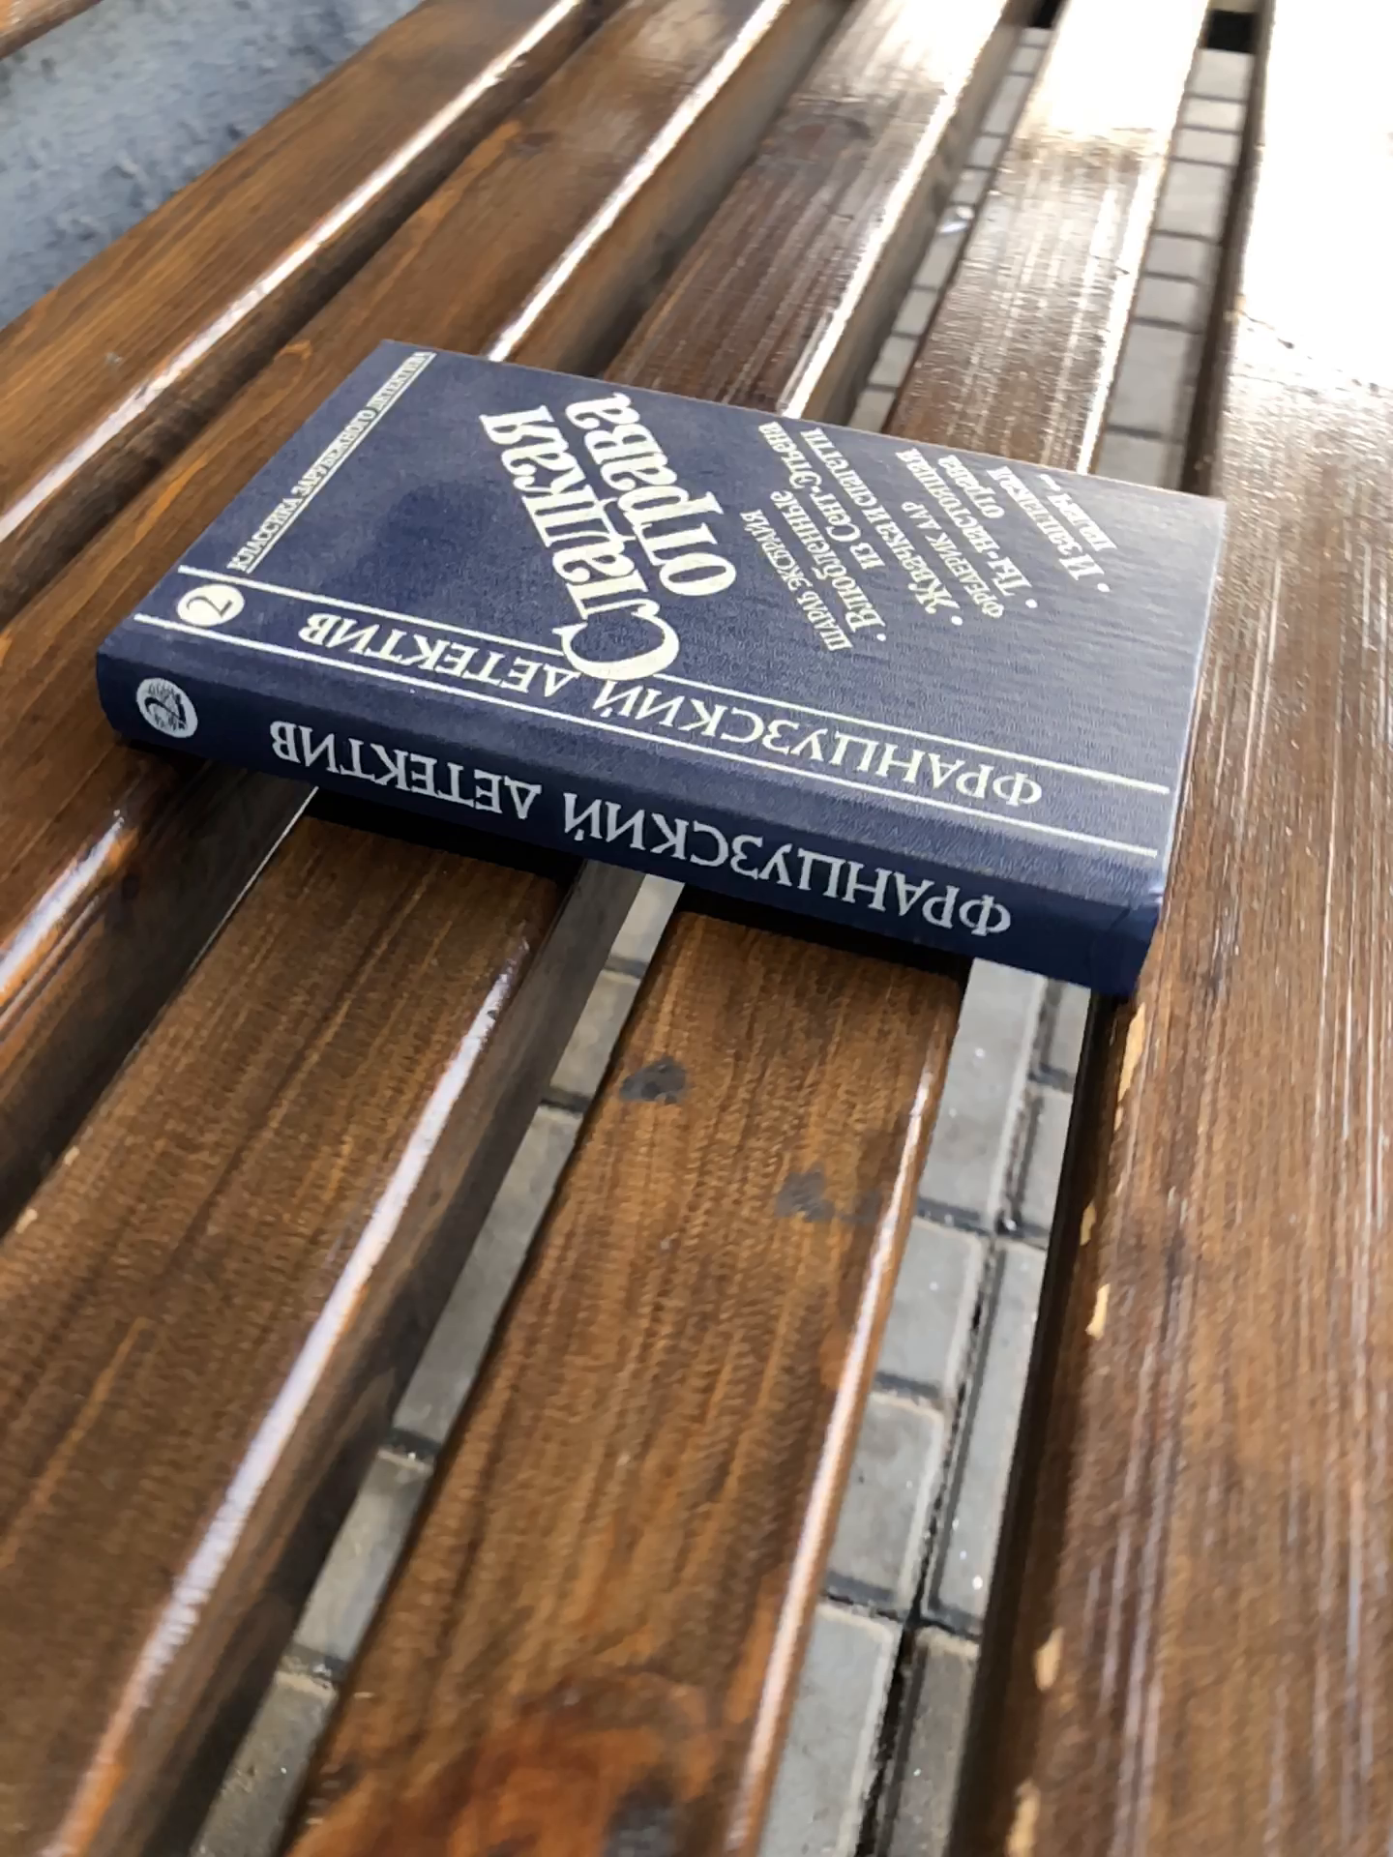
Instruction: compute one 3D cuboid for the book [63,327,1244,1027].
[{"bbox_3d":[0.001,-0.065,0.328,0.211,0.030,0.133,14,49,9],"label":"book"}]
